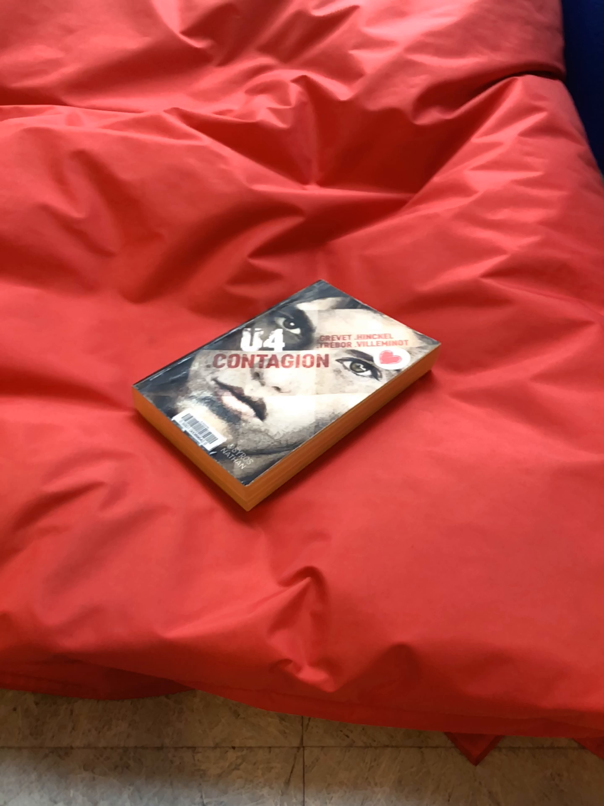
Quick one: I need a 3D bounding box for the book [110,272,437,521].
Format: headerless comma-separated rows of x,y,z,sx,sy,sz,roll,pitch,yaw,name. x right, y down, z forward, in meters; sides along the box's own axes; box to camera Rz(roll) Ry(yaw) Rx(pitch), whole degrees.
-0.022,-0.022,0.578,0.226,0.038,0.166,-34,51,-28,book
